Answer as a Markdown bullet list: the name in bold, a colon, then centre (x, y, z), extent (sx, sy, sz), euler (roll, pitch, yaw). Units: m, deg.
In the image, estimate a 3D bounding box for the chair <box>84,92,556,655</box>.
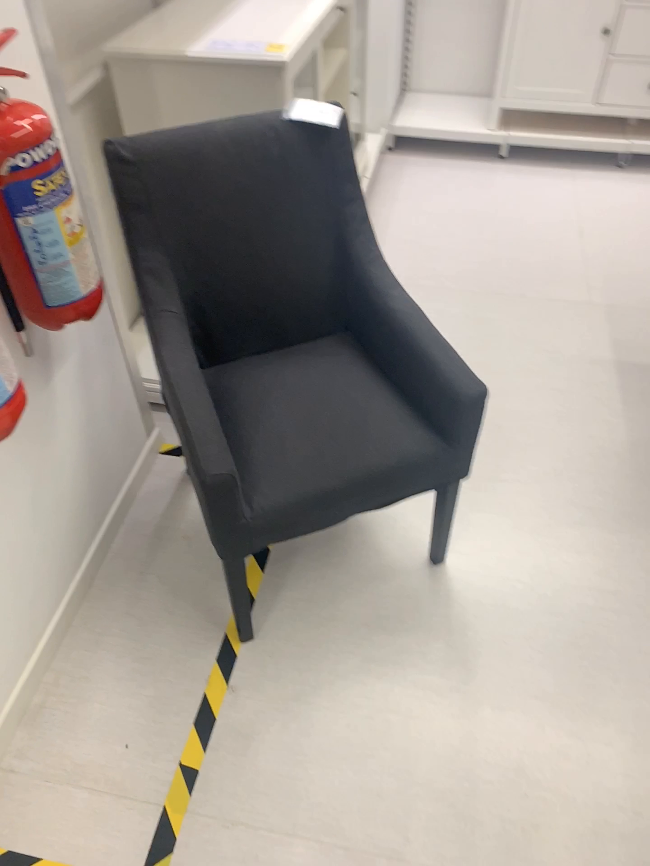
- **chair**: centre (-0.047, -0.119, 1.454), extent (0.610, 0.916, 0.632), euler (-17, 47, -16)
